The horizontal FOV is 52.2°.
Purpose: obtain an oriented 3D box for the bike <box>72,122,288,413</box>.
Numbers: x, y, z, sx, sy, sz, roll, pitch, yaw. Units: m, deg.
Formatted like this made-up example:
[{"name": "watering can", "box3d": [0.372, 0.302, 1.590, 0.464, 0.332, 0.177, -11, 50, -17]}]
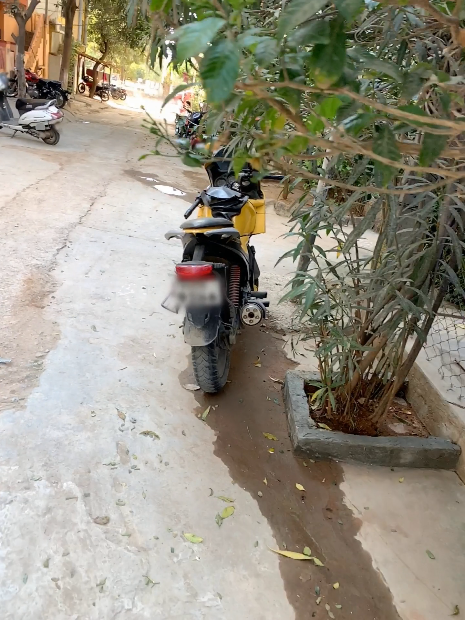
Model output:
[{"name": "bike", "box3d": [-0.295, -0.441, 2.903, 0.852, 0.954, 1.755, 9, 27, -5]}]
